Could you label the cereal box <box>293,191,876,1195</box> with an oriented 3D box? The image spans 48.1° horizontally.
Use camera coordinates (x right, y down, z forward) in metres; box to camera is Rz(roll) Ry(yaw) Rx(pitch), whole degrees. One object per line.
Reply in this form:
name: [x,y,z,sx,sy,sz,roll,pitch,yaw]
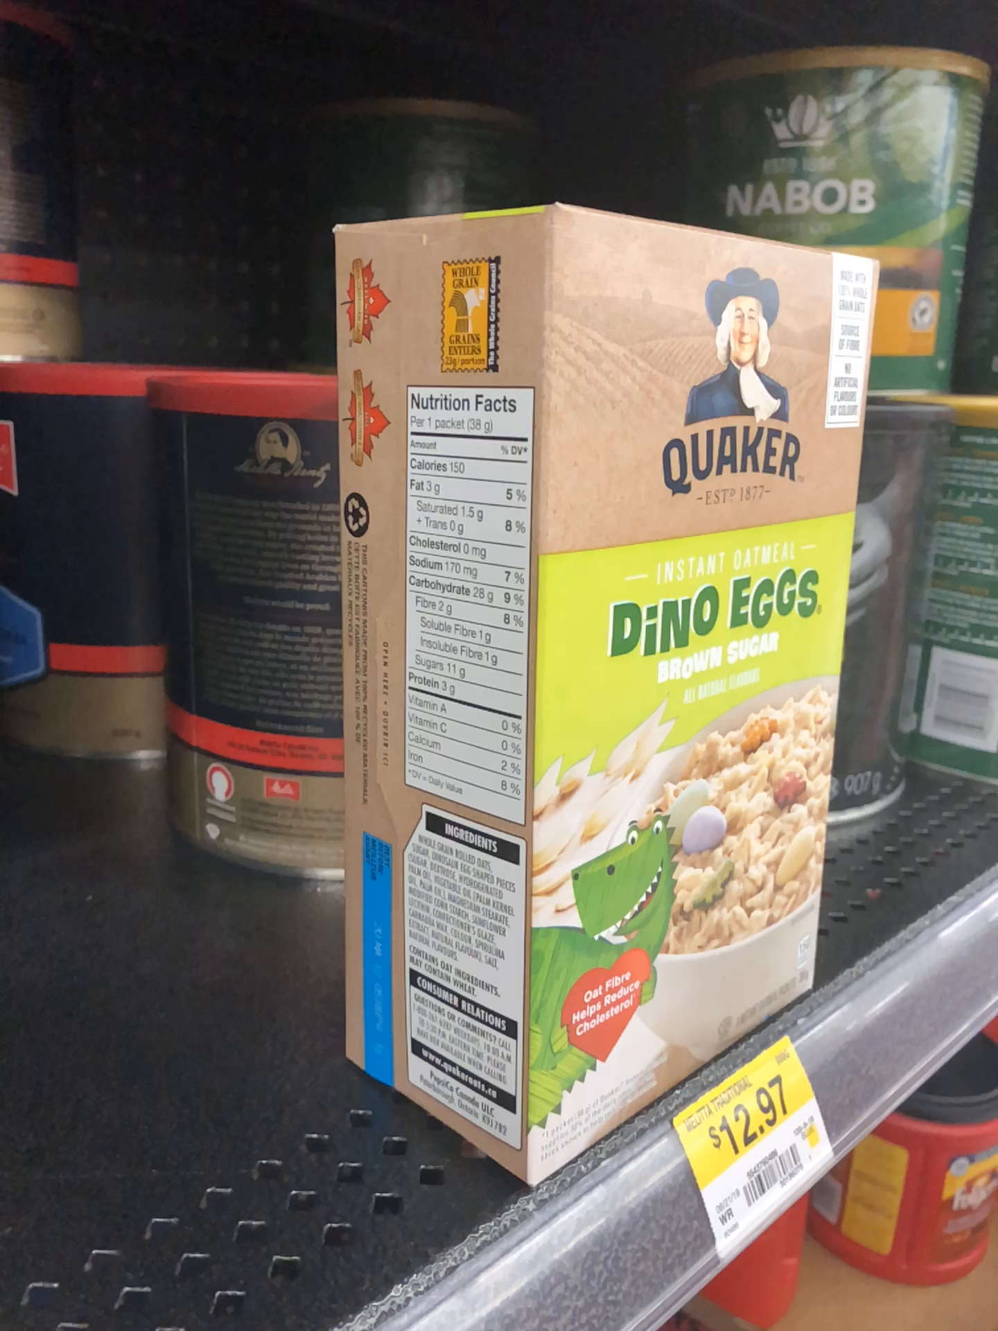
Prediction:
cereal box: [0.025,-0.001,0.285,0.070,0.199,0.130,13,18,42]
